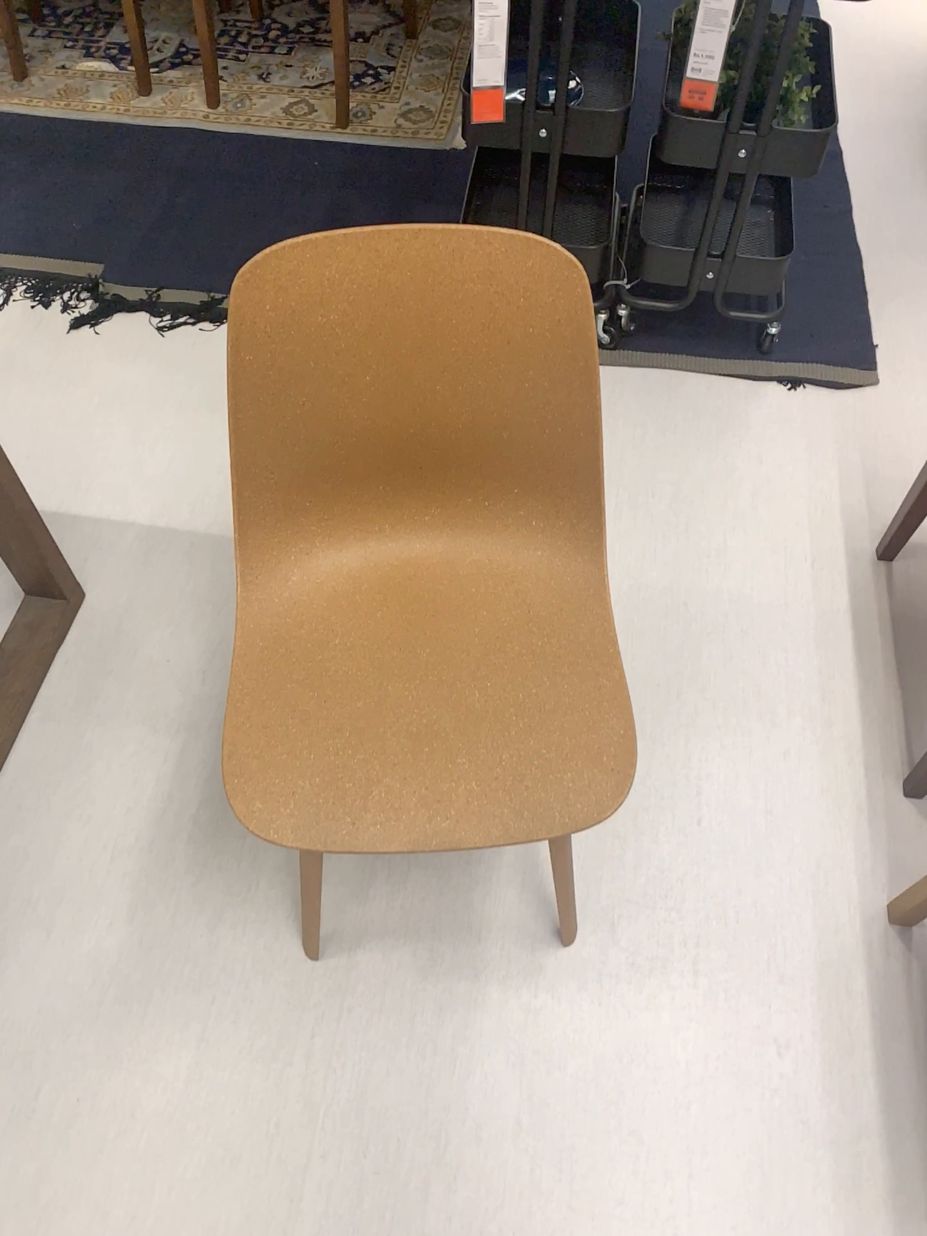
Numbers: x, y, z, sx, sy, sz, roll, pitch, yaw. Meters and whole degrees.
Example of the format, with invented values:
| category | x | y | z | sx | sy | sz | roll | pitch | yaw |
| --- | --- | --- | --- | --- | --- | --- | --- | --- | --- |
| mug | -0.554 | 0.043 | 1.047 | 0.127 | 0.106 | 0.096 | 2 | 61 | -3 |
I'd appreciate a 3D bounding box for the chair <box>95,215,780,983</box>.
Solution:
| category | x | y | z | sx | sy | sz | roll | pitch | yaw |
| --- | --- | --- | --- | --- | --- | --- | --- | --- | --- |
| chair | -0.029 | 0.039 | 1.049 | 0.440 | 0.718 | 0.521 | -2 | 56 | -2 |
